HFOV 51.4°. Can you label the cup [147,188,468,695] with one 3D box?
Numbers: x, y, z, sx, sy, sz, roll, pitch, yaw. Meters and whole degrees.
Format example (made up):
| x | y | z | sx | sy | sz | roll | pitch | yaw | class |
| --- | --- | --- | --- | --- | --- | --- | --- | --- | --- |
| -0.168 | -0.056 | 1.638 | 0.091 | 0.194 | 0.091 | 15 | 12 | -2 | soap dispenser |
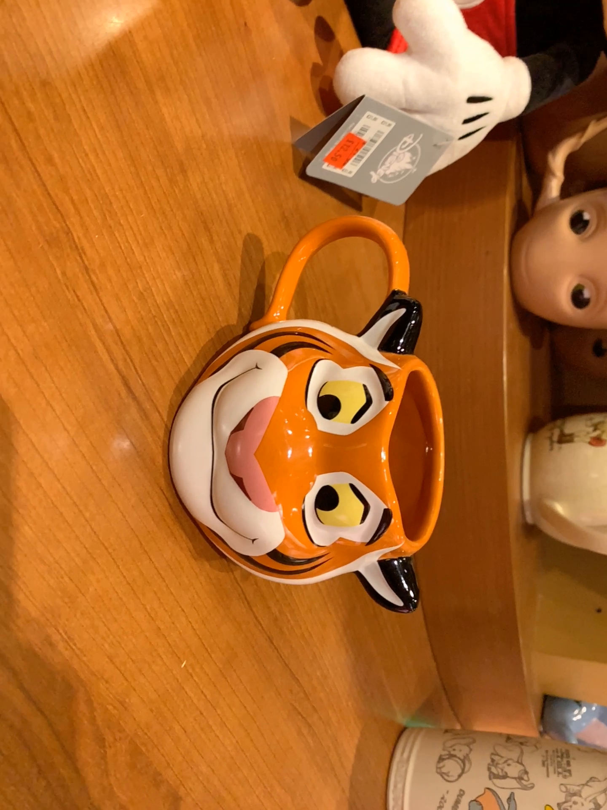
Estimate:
| x | y | z | sx | sy | sz | roll | pitch | yaw | class |
| --- | --- | --- | --- | --- | --- | --- | --- | --- | --- |
| 0.009 | 0.011 | 0.253 | 0.107 | 0.087 | 0.149 | 4 | 86 | -62 | cup |
